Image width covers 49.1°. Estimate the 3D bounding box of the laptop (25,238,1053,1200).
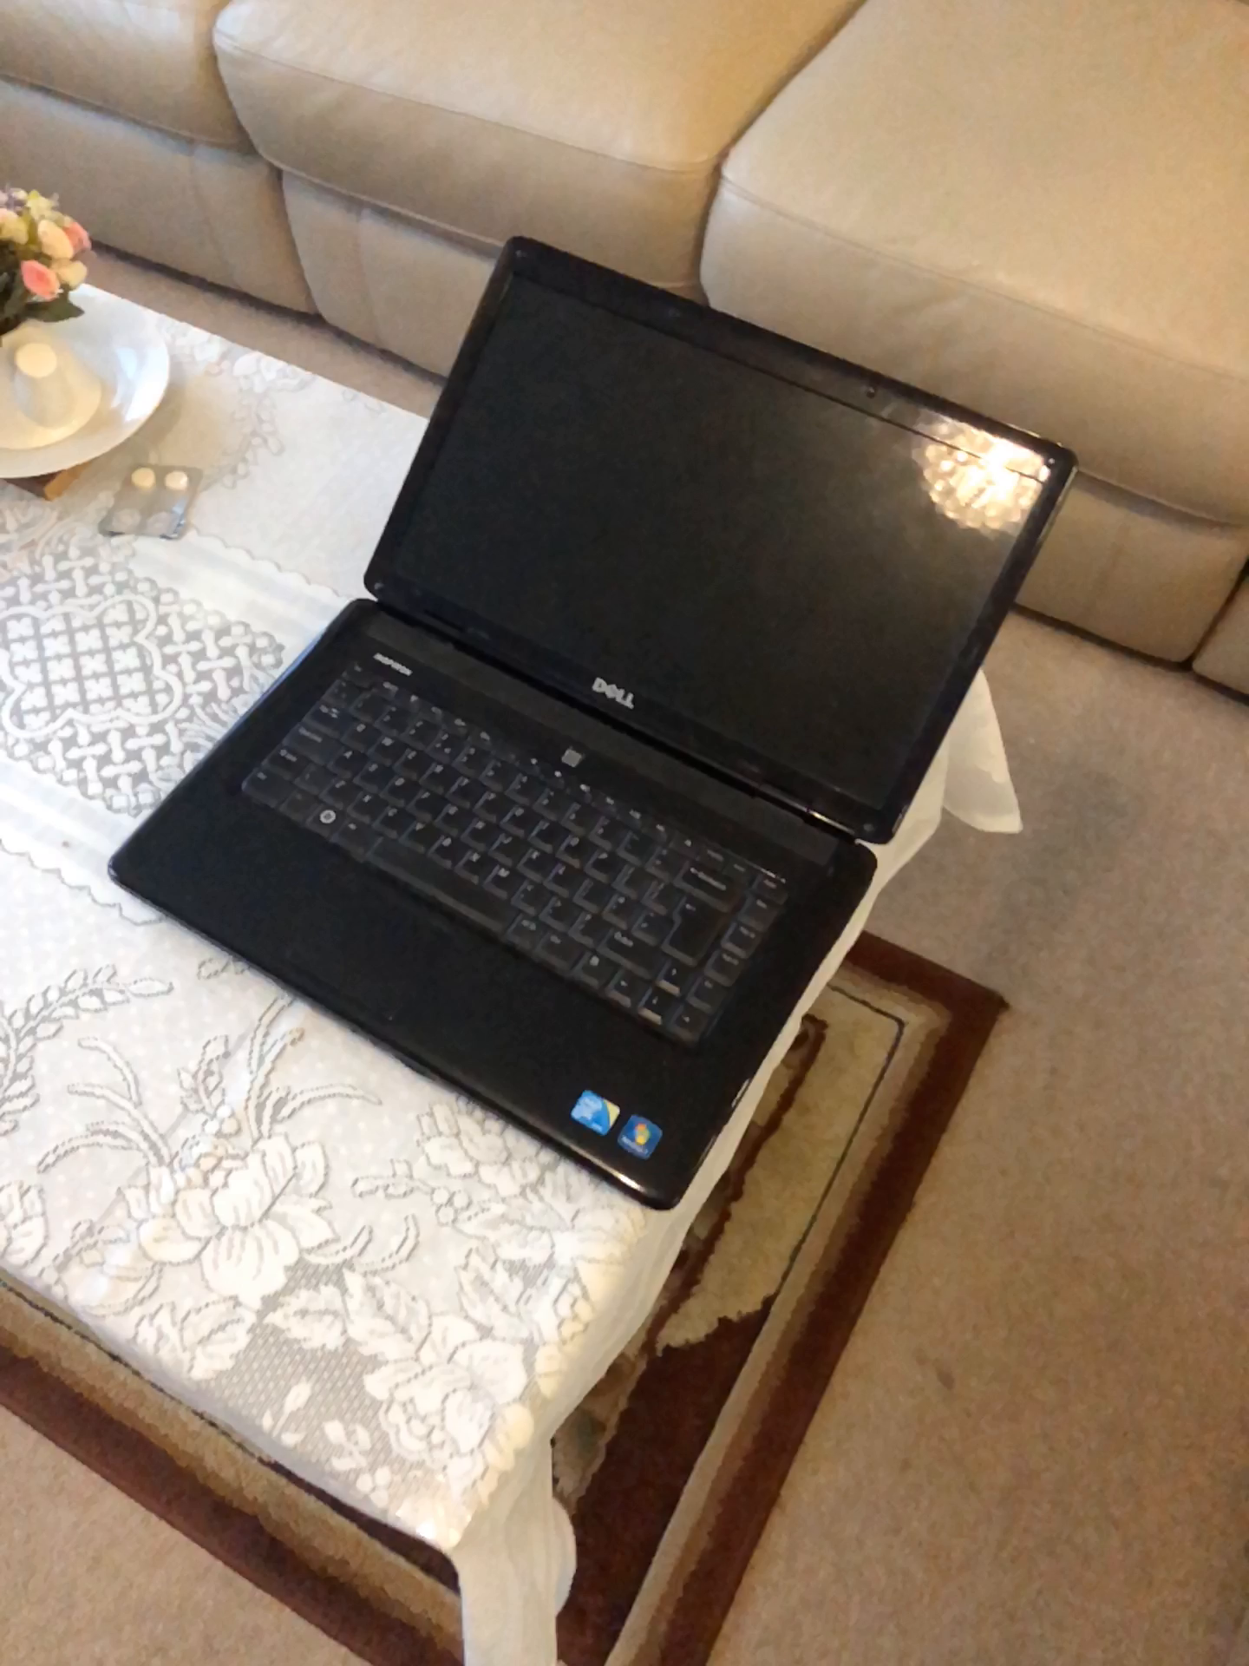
[{"bbox_3d":[-0.030,-0.092,0.753,0.364,0.122,0.419,27,65,16],"label":"laptop"}]
